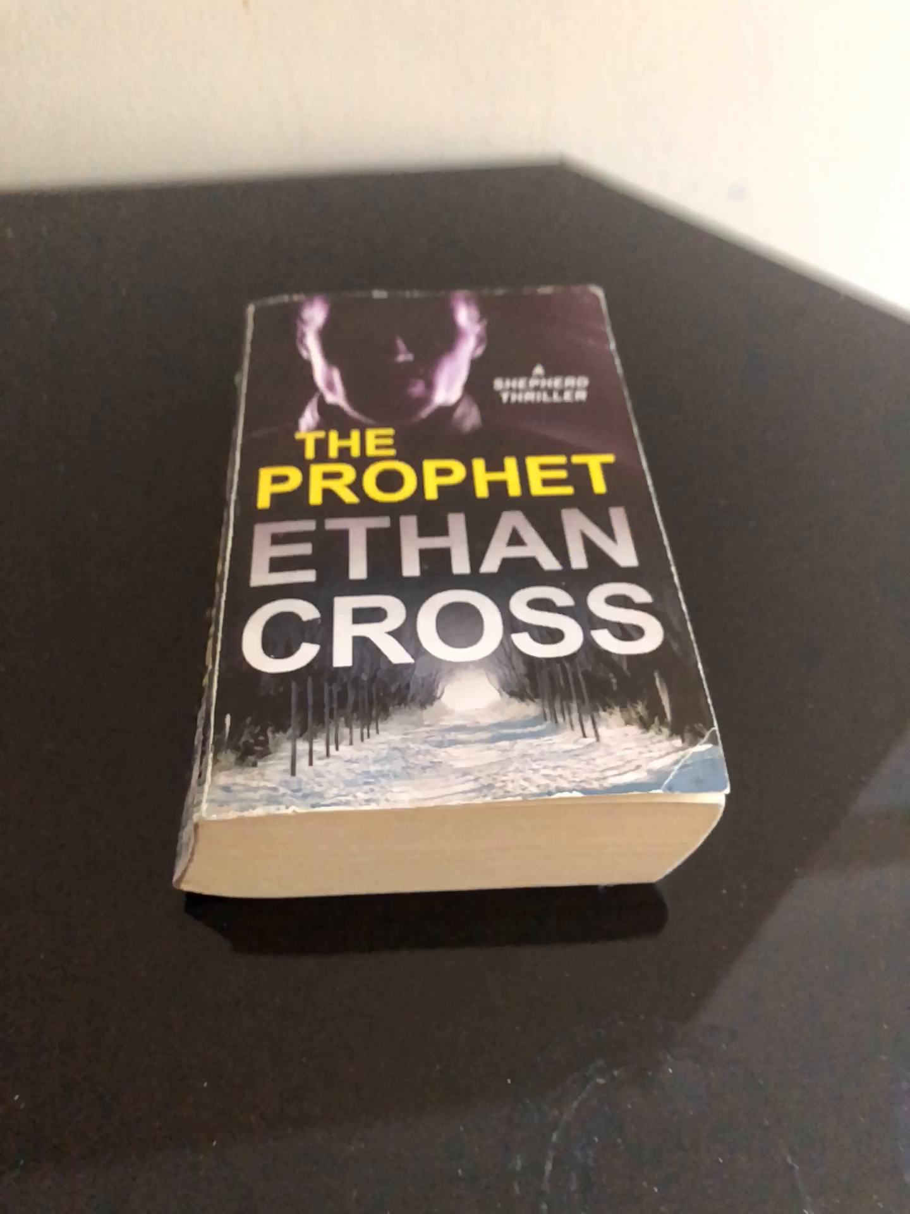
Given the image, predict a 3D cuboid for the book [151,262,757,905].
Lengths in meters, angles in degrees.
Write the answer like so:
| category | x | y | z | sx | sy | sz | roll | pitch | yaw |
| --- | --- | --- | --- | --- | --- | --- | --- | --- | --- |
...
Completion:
| category | x | y | z | sx | sy | sz | roll | pitch | yaw |
| --- | --- | --- | --- | --- | --- | --- | --- | --- | --- |
| book | -0.005 | -0.020 | 0.266 | 0.115 | 0.040 | 0.180 | -2 | 51 | -3 |
